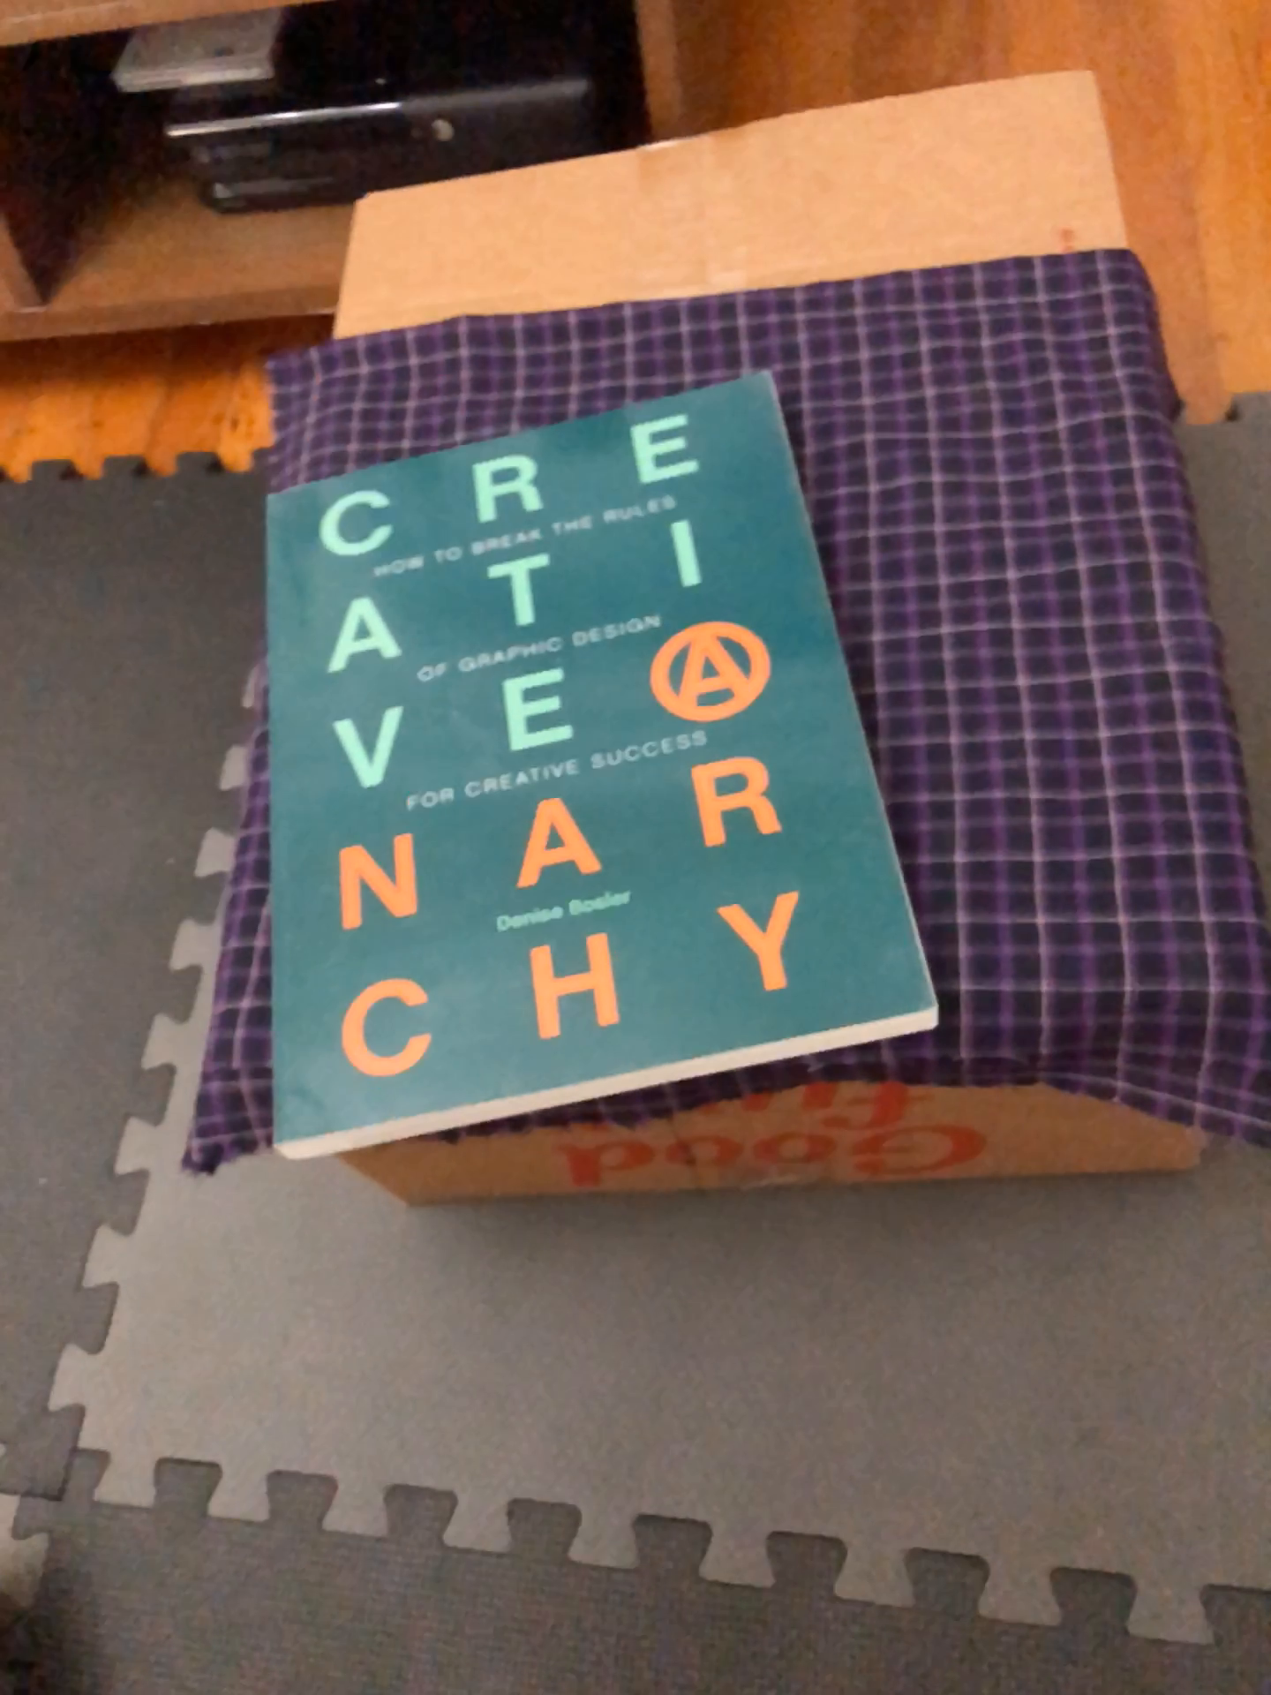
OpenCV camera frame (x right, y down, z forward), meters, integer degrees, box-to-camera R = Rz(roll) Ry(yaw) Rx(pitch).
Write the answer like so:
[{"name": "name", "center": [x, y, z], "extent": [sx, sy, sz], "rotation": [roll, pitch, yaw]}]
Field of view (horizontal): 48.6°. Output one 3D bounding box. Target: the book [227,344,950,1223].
[{"name": "book", "center": [-0.036, -0.040, 0.498], "extent": [0.220, 0.020, 0.301], "rotation": [-13, 60, 6]}]
